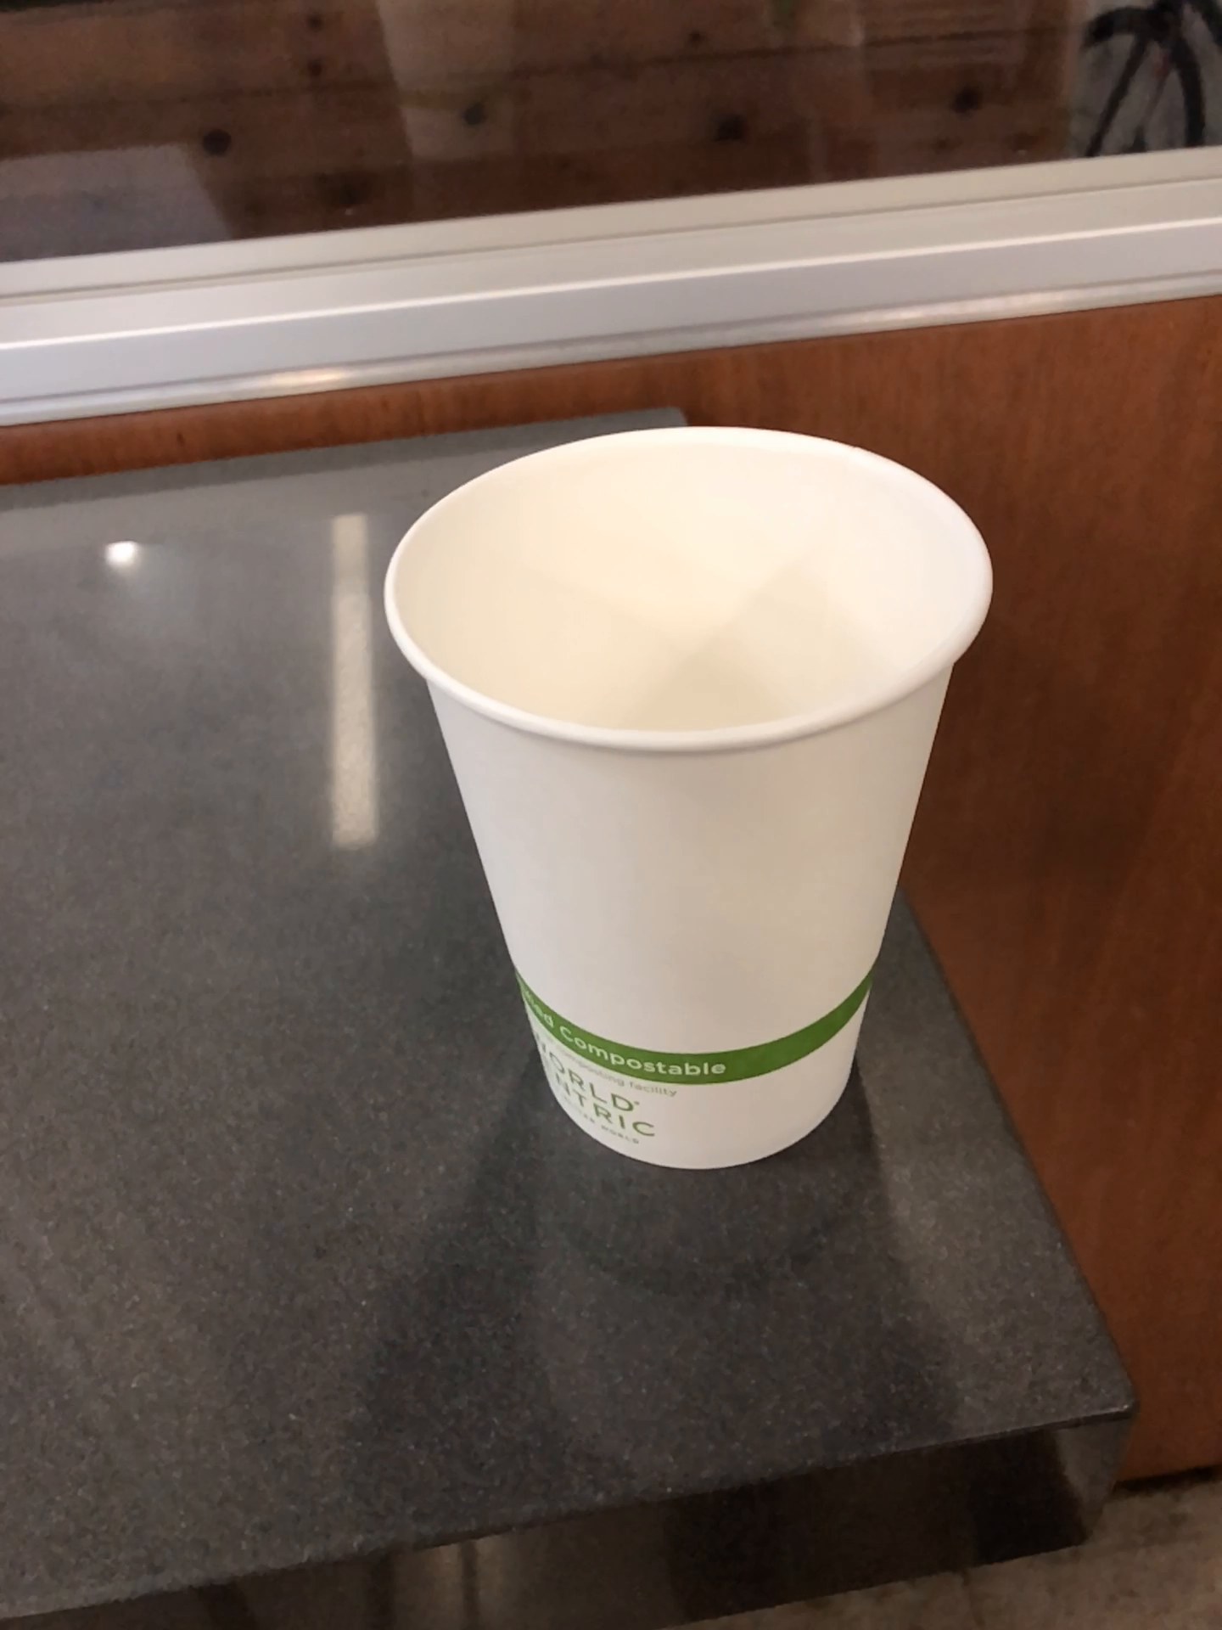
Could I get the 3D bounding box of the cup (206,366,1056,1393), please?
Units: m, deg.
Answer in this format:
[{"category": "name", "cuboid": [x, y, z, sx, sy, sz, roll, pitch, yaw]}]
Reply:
[{"category": "cup", "cuboid": [0.009, 0.007, 0.226, 0.080, 0.119, 0.090, 22, 45, 29]}]
